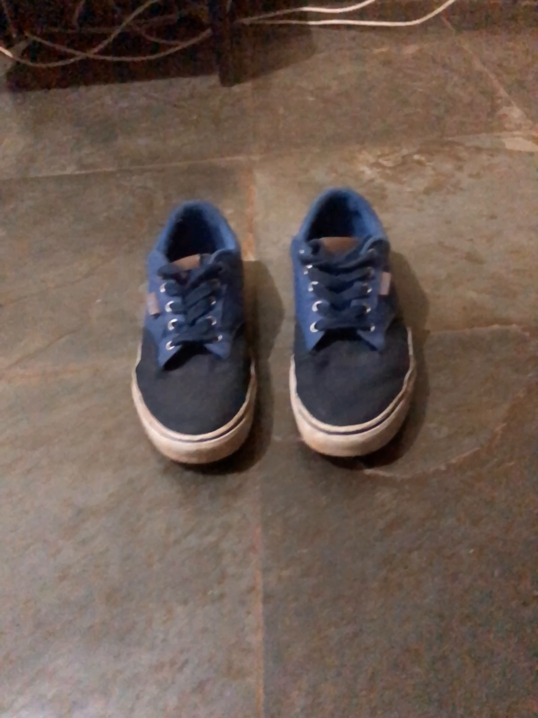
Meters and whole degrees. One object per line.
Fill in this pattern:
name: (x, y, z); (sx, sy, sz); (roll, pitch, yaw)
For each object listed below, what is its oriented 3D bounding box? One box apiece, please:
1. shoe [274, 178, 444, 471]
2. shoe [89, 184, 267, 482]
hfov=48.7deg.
shoe: (0.068, -0.048, 0.519); (0.110, 0.080, 0.292); (-1, 45, 5)
shoe: (-0.067, -0.040, 0.512); (0.110, 0.080, 0.282); (-5, 45, 0)
